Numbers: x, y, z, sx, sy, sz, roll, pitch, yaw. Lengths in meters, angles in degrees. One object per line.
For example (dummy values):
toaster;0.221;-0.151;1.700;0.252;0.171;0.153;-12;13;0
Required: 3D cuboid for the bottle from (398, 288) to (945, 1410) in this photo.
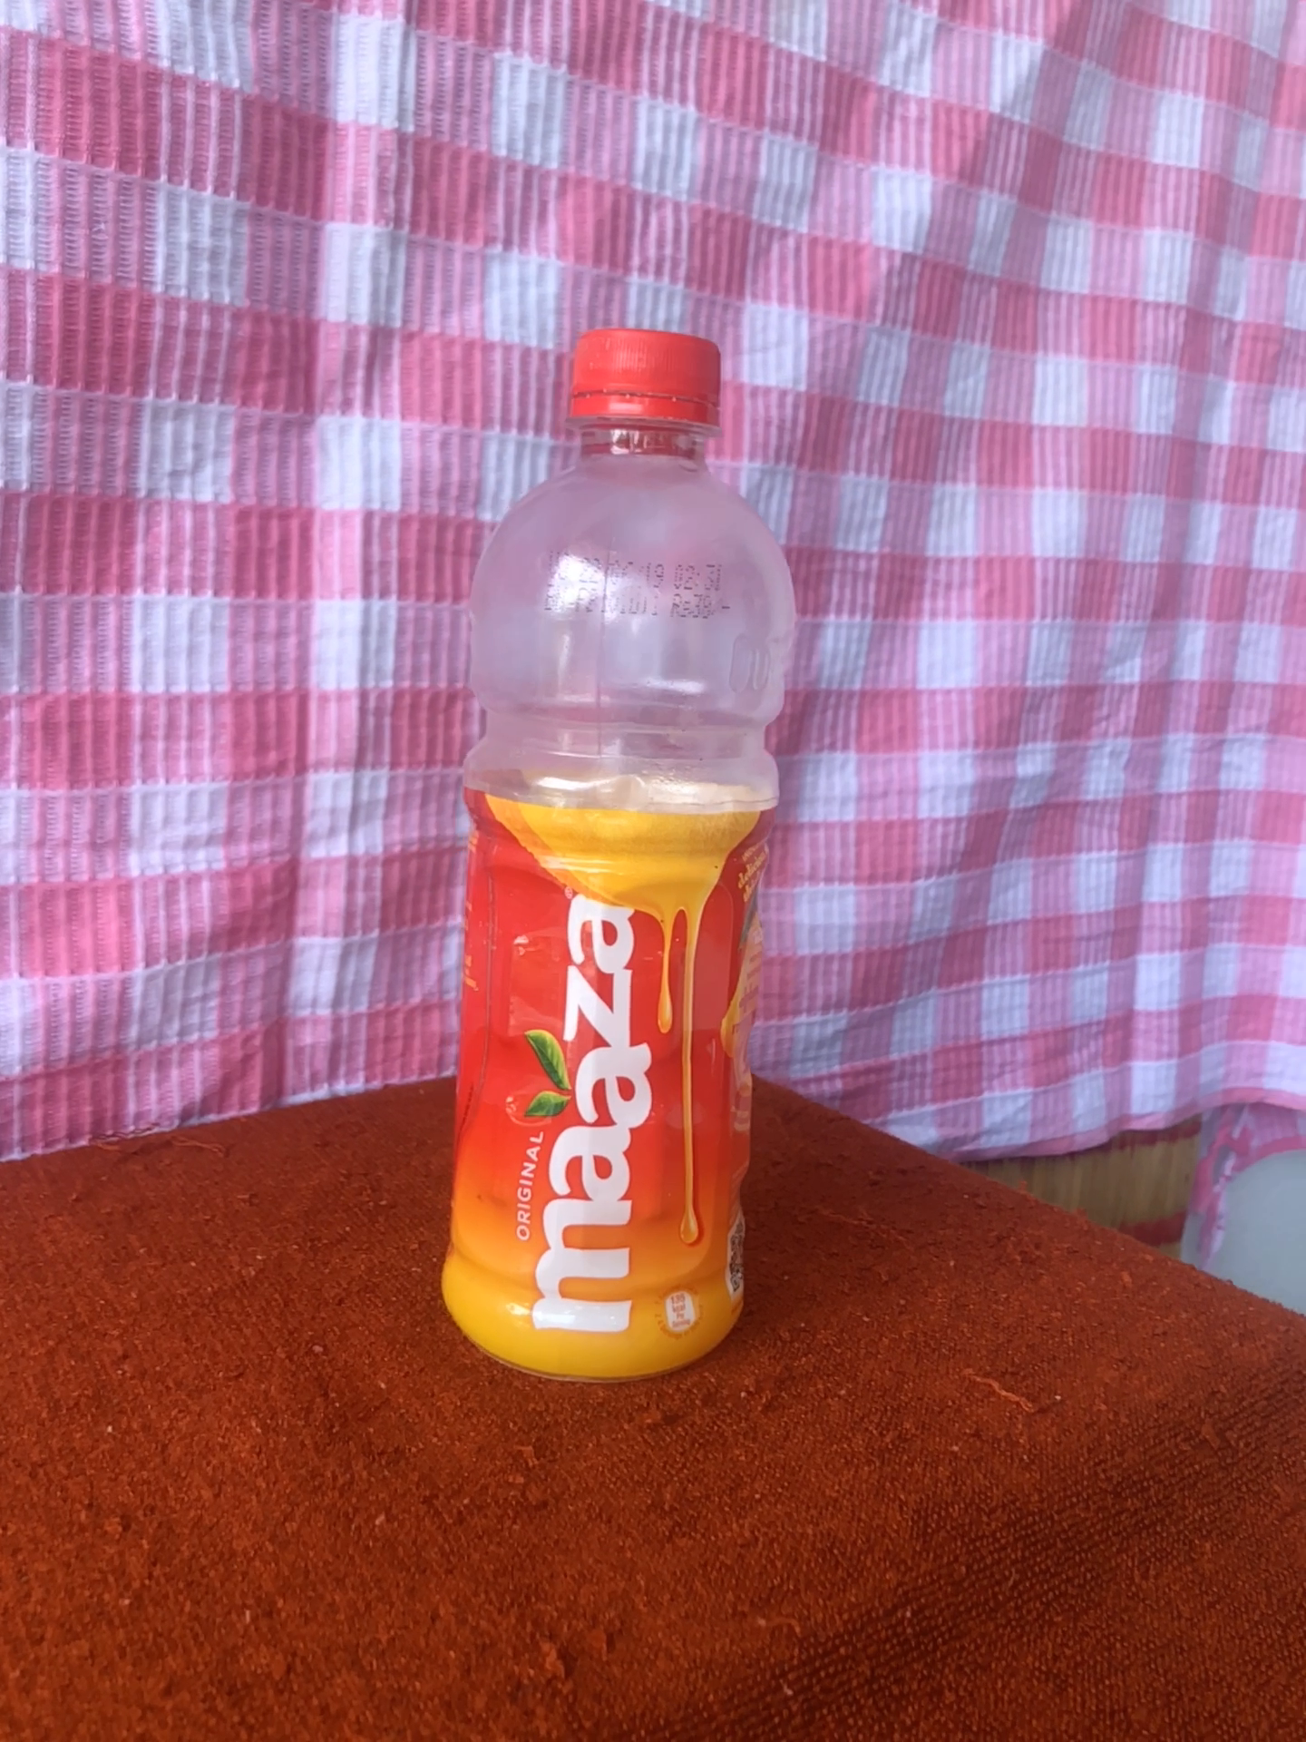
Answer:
bottle;-0.004;-0.001;0.307;0.080;0.209;0.070;5;12;-10
